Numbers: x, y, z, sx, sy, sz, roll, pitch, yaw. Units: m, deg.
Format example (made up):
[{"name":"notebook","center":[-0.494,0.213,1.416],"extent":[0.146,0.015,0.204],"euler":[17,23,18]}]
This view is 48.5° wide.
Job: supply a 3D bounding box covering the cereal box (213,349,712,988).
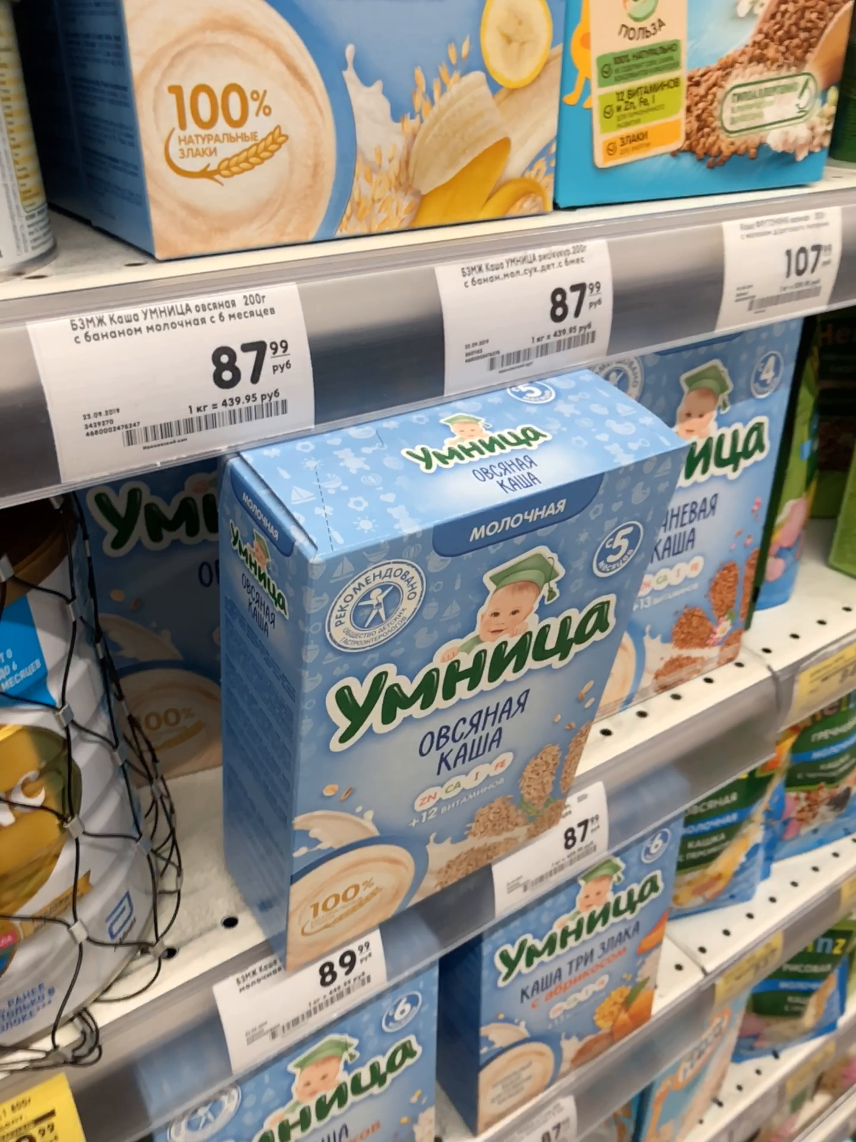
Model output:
[{"name":"cereal box","center":[0.001,0.039,0.345],"extent":[0.140,0.209,0.060],"euler":[-18,46,-30]}]
